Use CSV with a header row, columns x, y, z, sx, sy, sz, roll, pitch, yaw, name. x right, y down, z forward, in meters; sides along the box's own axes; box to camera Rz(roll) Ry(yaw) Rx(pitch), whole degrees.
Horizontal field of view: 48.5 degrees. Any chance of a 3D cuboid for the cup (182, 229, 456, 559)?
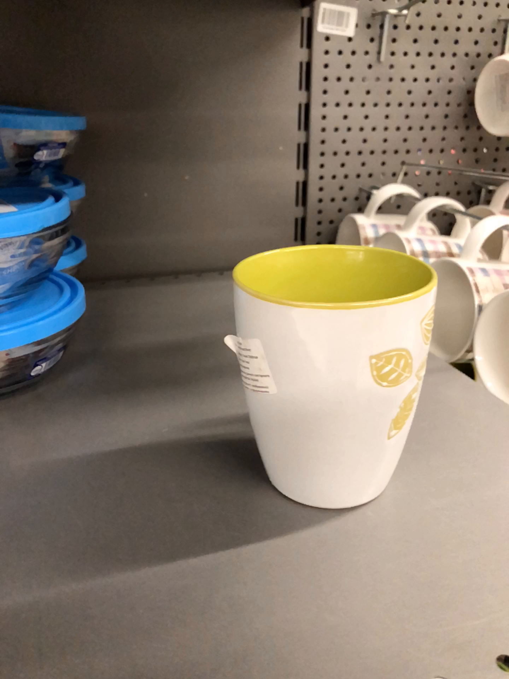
x,y,z,sx,sy,sz,roll,pitch,yaw,name
0.036,0.011,0.266,0.094,0.095,0.127,6,24,14,cup
